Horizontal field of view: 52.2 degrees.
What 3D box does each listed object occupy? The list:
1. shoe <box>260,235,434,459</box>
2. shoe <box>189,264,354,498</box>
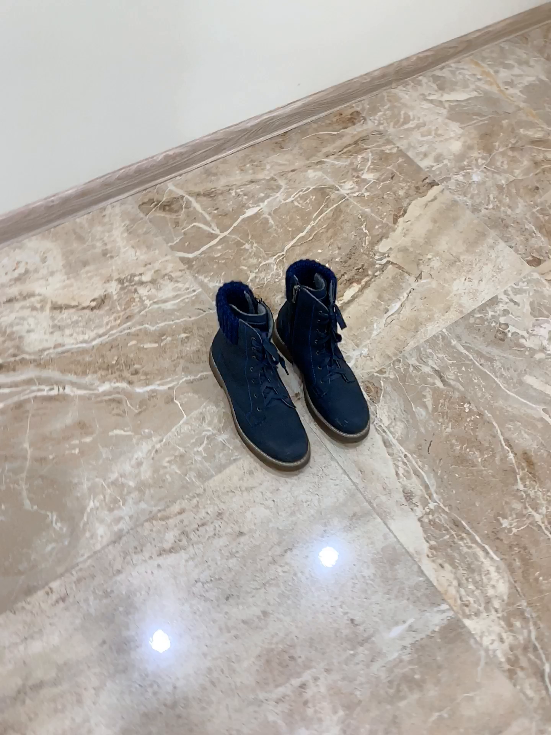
[{"bbox_3d":[0.090,-0.027,0.858,0.101,0.199,0.261,-24,66,-18],"label":"shoe"},{"bbox_3d":[-0.021,0.024,0.815,0.101,0.199,0.261,-24,66,-18],"label":"shoe"}]
